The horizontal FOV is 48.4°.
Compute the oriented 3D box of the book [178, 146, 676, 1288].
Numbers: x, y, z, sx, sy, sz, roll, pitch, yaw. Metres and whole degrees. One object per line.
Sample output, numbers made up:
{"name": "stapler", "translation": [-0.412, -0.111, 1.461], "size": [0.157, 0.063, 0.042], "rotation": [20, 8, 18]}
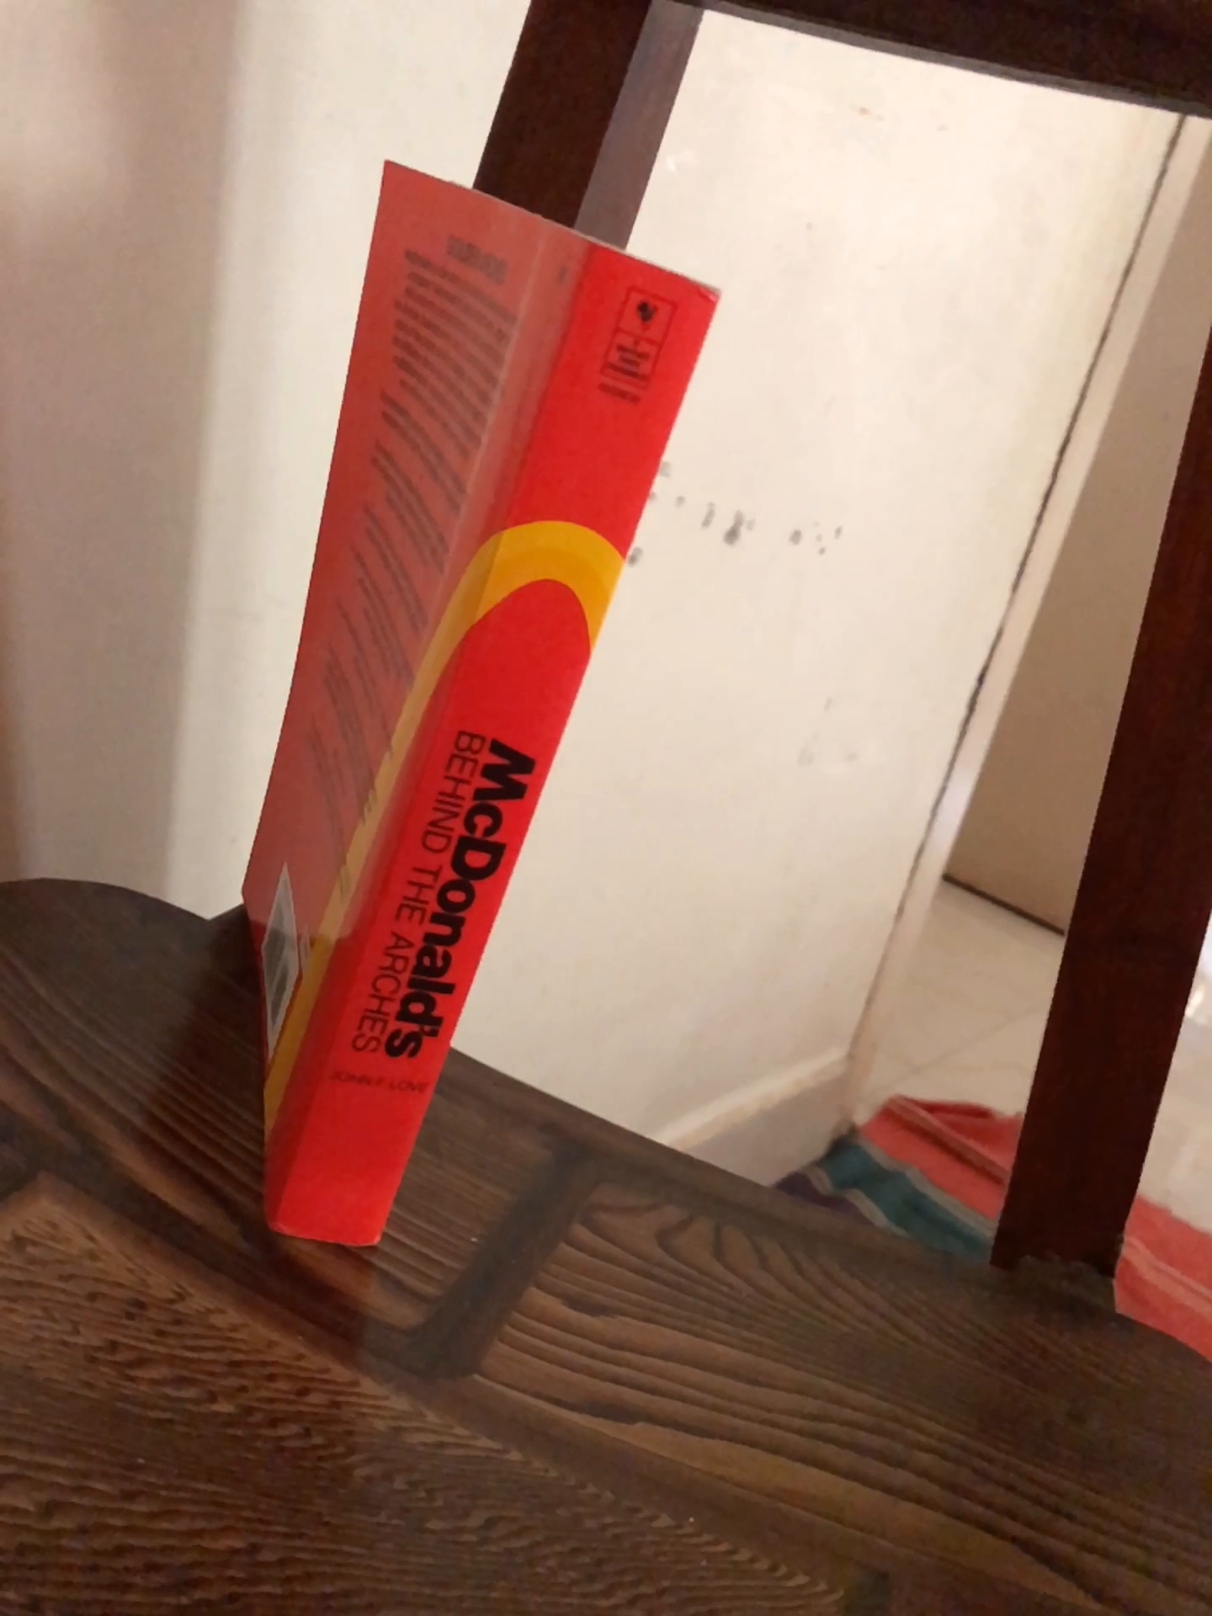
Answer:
{"name": "book", "translation": [-0.062, -0.037, 0.356], "size": [0.040, 0.239, 0.191], "rotation": [12, 19, -18]}
